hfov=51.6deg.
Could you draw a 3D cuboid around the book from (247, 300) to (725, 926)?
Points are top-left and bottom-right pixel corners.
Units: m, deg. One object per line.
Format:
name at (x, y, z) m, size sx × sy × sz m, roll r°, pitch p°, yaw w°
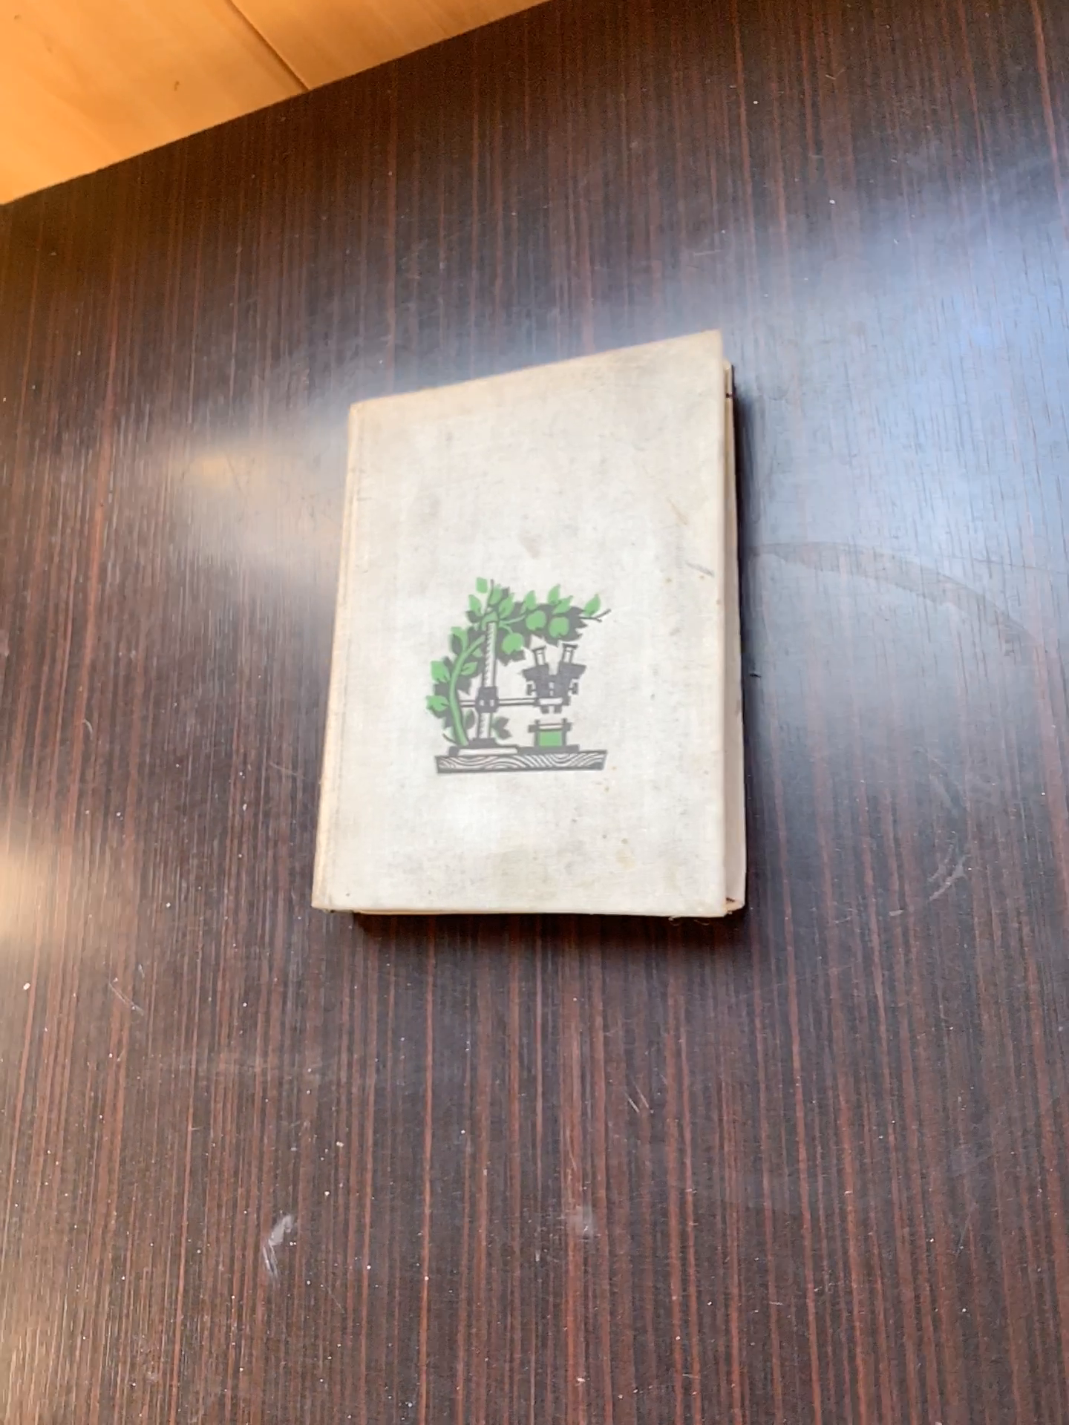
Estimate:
book at (-0.015, -0.024, 0.327) m, size 0.136 × 0.028 × 0.169 m, roll -5°, pitch 76°, yaw 25°
